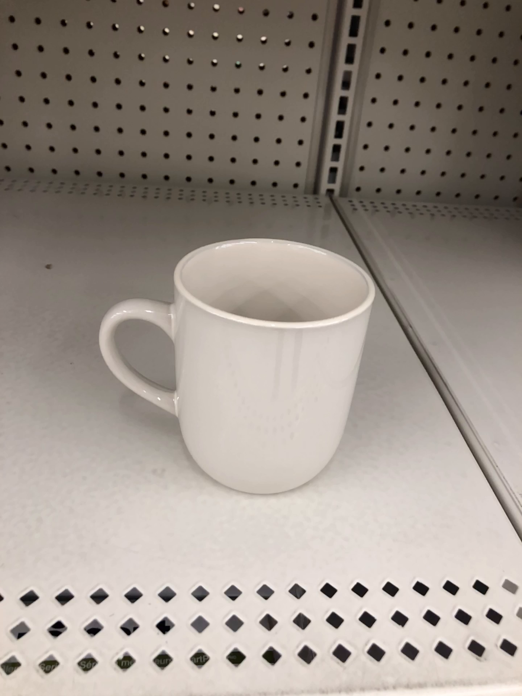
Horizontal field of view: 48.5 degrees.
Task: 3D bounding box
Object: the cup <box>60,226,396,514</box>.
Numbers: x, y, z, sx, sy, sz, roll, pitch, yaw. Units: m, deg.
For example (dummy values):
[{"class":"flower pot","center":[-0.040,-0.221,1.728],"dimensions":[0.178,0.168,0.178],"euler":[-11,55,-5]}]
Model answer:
[{"class":"cup","center":[-0.014,0.007,0.268],"dimensions":[0.121,0.090,0.087],"euler":[5,30,0]}]
